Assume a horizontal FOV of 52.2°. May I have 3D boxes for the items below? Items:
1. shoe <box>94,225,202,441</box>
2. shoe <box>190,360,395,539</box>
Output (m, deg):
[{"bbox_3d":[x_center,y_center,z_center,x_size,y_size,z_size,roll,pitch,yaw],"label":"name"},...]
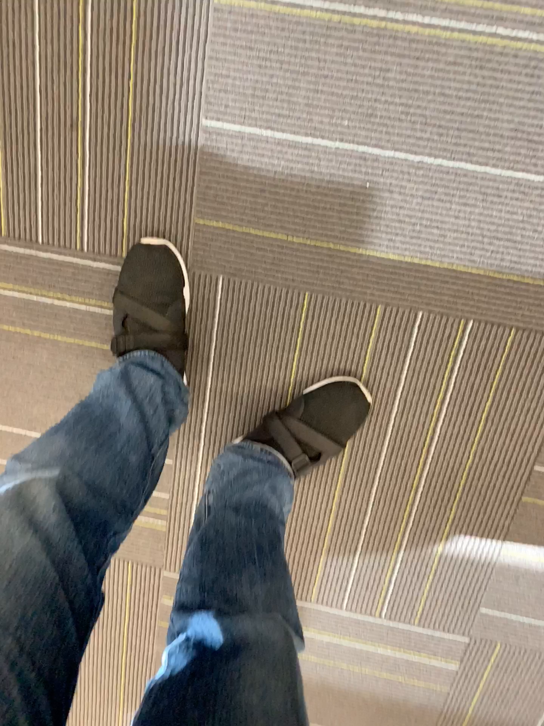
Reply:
[{"bbox_3d":[-0.191,-0.047,0.866,0.120,0.120,0.301,8,112,5],"label":"shoe"},{"bbox_3d":[0.032,0.141,0.891,0.301,0.110,0.120,-34,103,19],"label":"shoe"}]
